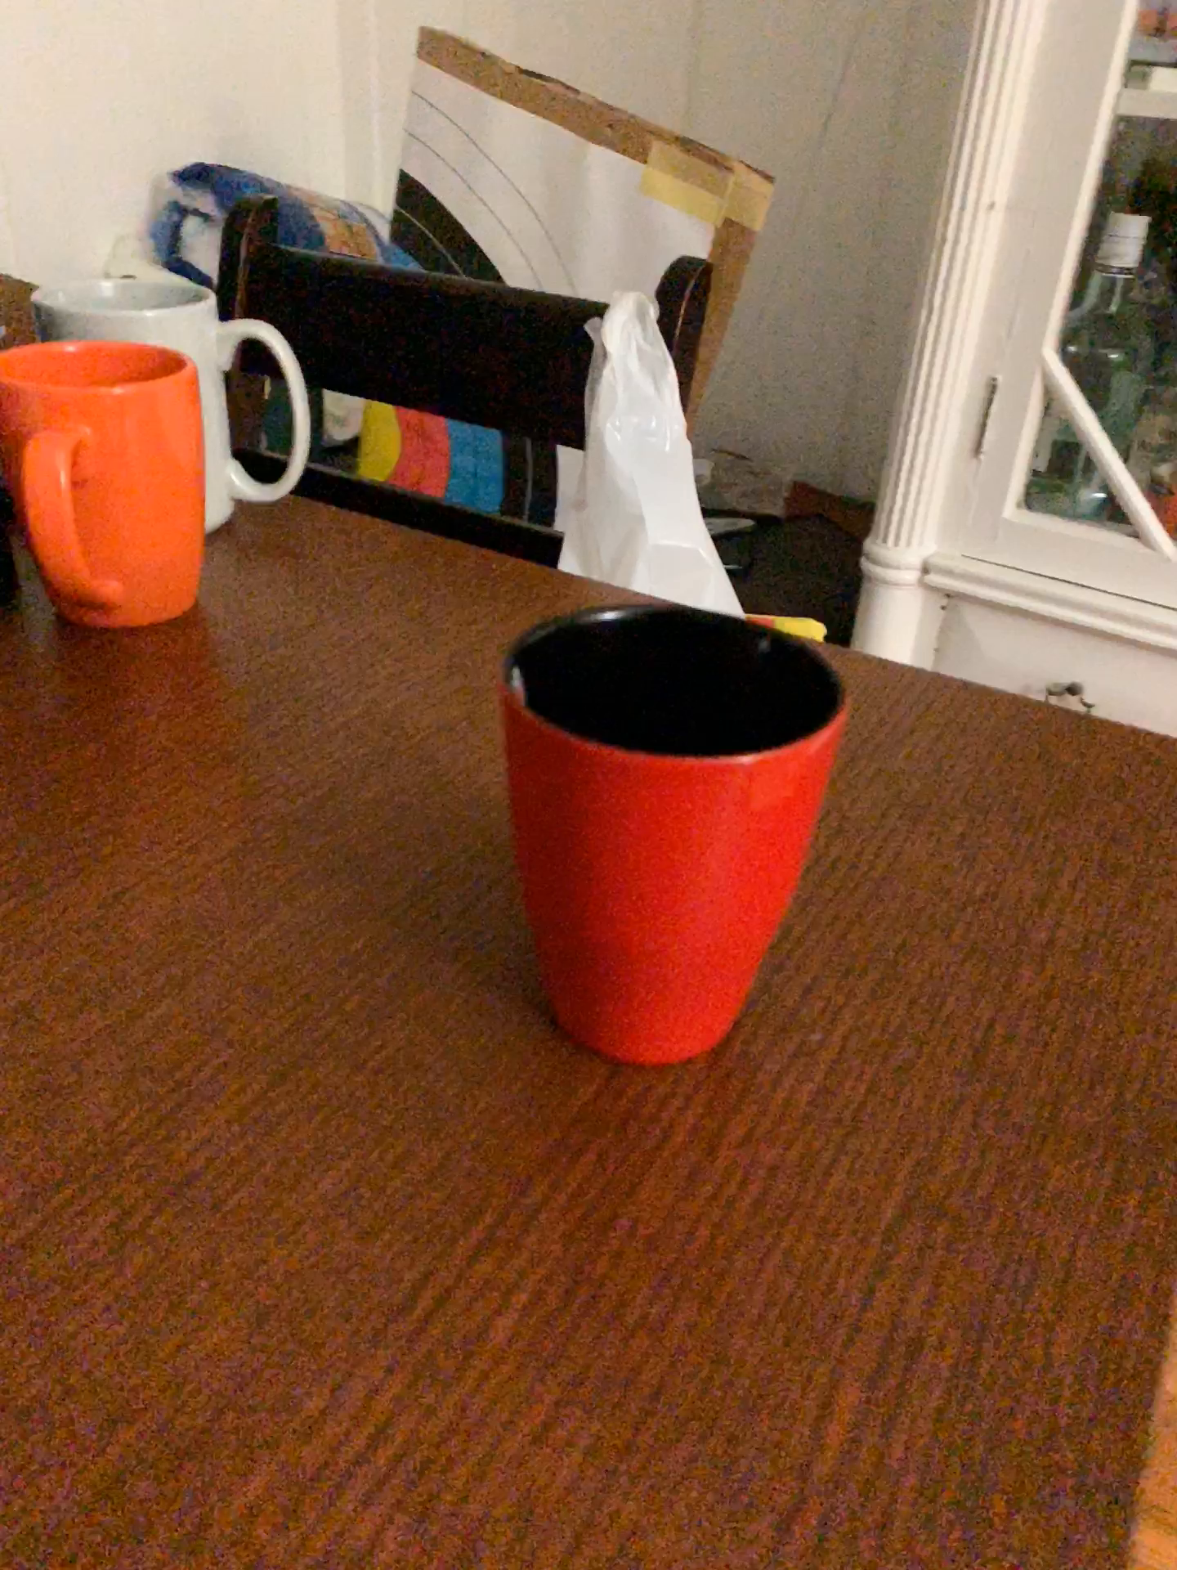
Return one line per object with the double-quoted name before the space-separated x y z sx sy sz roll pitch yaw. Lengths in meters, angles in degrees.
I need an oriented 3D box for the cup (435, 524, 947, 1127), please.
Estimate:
"cup" 0.014 0.001 0.325 0.090 0.099 0.131 -5 32 -14
